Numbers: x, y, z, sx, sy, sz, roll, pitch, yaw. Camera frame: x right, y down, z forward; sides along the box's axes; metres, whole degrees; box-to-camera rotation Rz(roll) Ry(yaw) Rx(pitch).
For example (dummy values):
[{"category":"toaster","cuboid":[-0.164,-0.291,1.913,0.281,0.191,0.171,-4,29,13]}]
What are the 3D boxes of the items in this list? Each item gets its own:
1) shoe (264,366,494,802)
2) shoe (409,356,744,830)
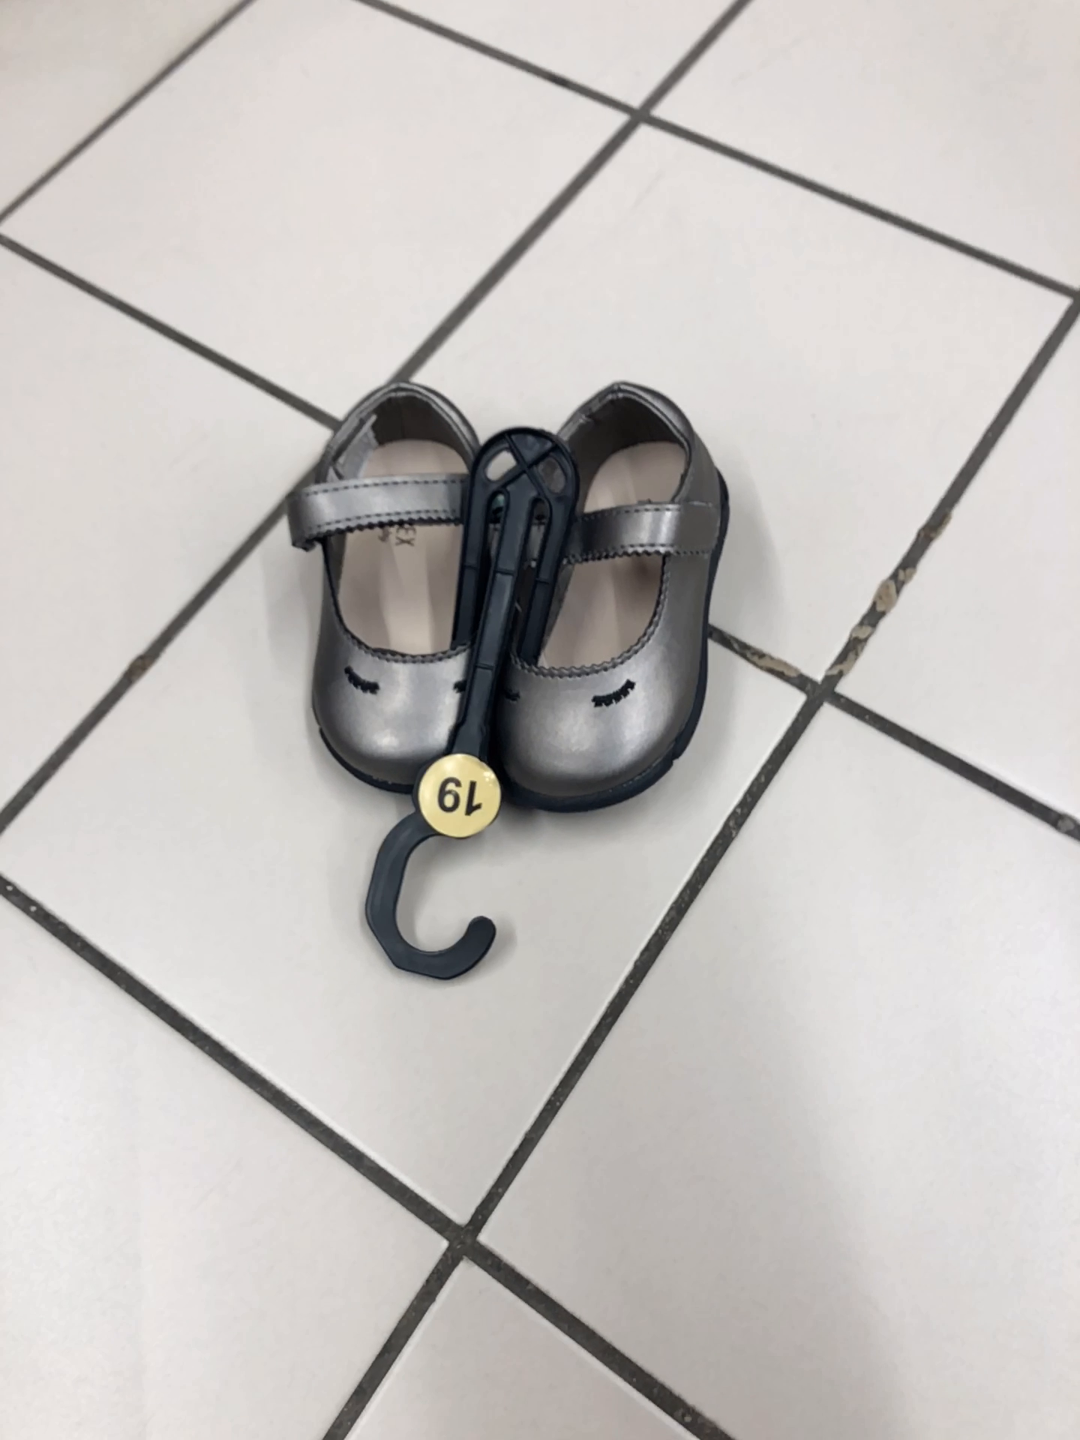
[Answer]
[{"category":"shoe","cuboid":[-0.048,-0.046,0.389,0.059,0.047,0.134,-2,64,4]},{"category":"shoe","cuboid":[0.017,-0.039,0.371,0.067,0.061,0.129,2,64,21]}]
